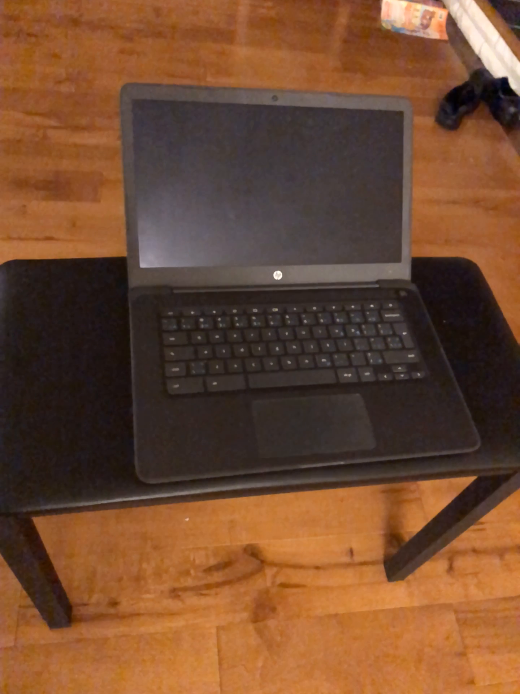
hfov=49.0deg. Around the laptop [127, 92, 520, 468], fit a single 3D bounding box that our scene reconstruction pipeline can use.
[{"bbox_3d":[0.035,-0.090,0.574,0.316,0.143,0.364,-3,52,-12],"label":"laptop"}]
